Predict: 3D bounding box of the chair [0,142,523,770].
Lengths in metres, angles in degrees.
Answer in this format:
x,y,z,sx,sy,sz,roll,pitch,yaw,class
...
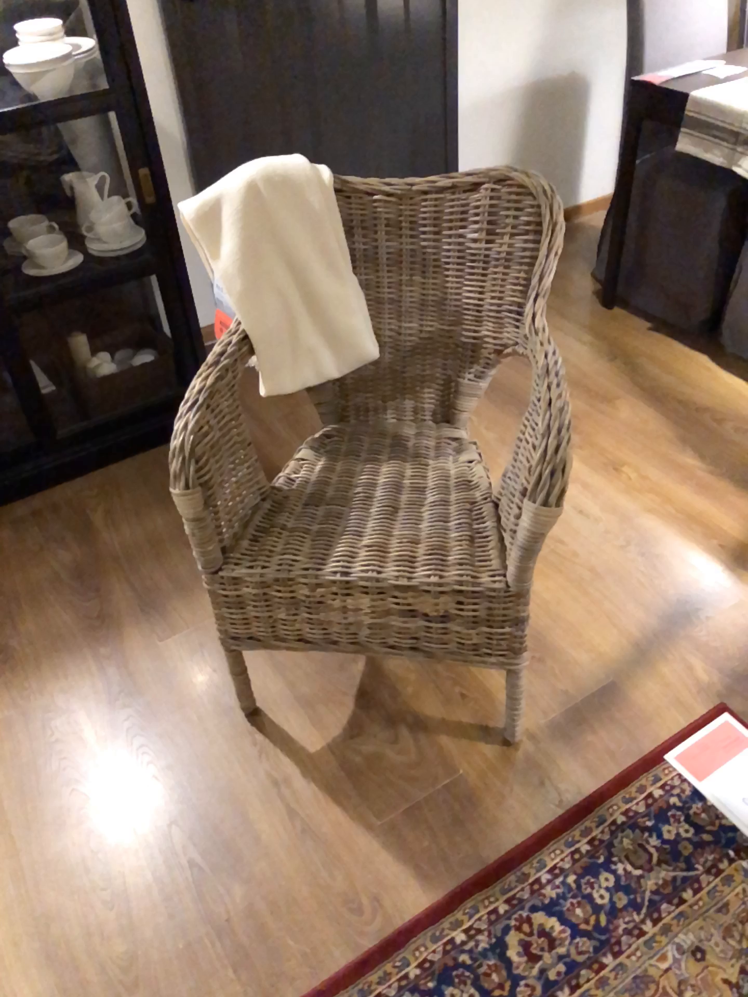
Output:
x,y,z,sx,sy,sz,roll,pitch,yaw,class
-0.080,-0.074,1.397,0.620,0.814,0.634,2,40,9,chair
